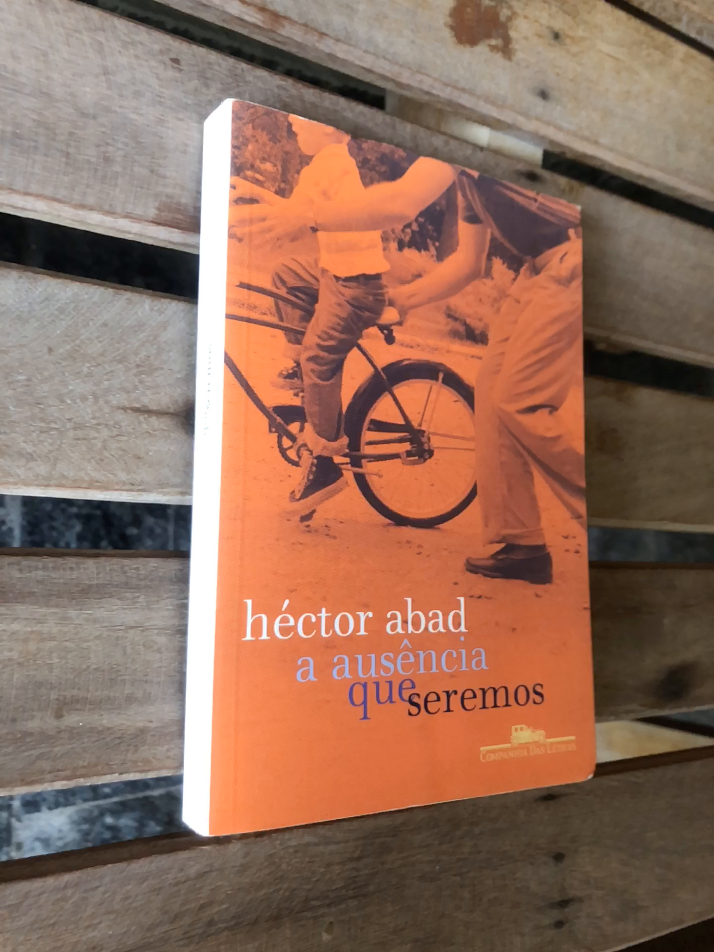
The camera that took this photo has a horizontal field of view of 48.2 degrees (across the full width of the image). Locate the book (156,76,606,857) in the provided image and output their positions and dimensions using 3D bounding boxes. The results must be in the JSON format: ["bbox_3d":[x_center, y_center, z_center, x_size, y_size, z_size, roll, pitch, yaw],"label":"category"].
[{"bbox_3d":[0.016,-0.002,0.247,0.143,0.020,0.200,4,83,-29],"label":"book"}]
